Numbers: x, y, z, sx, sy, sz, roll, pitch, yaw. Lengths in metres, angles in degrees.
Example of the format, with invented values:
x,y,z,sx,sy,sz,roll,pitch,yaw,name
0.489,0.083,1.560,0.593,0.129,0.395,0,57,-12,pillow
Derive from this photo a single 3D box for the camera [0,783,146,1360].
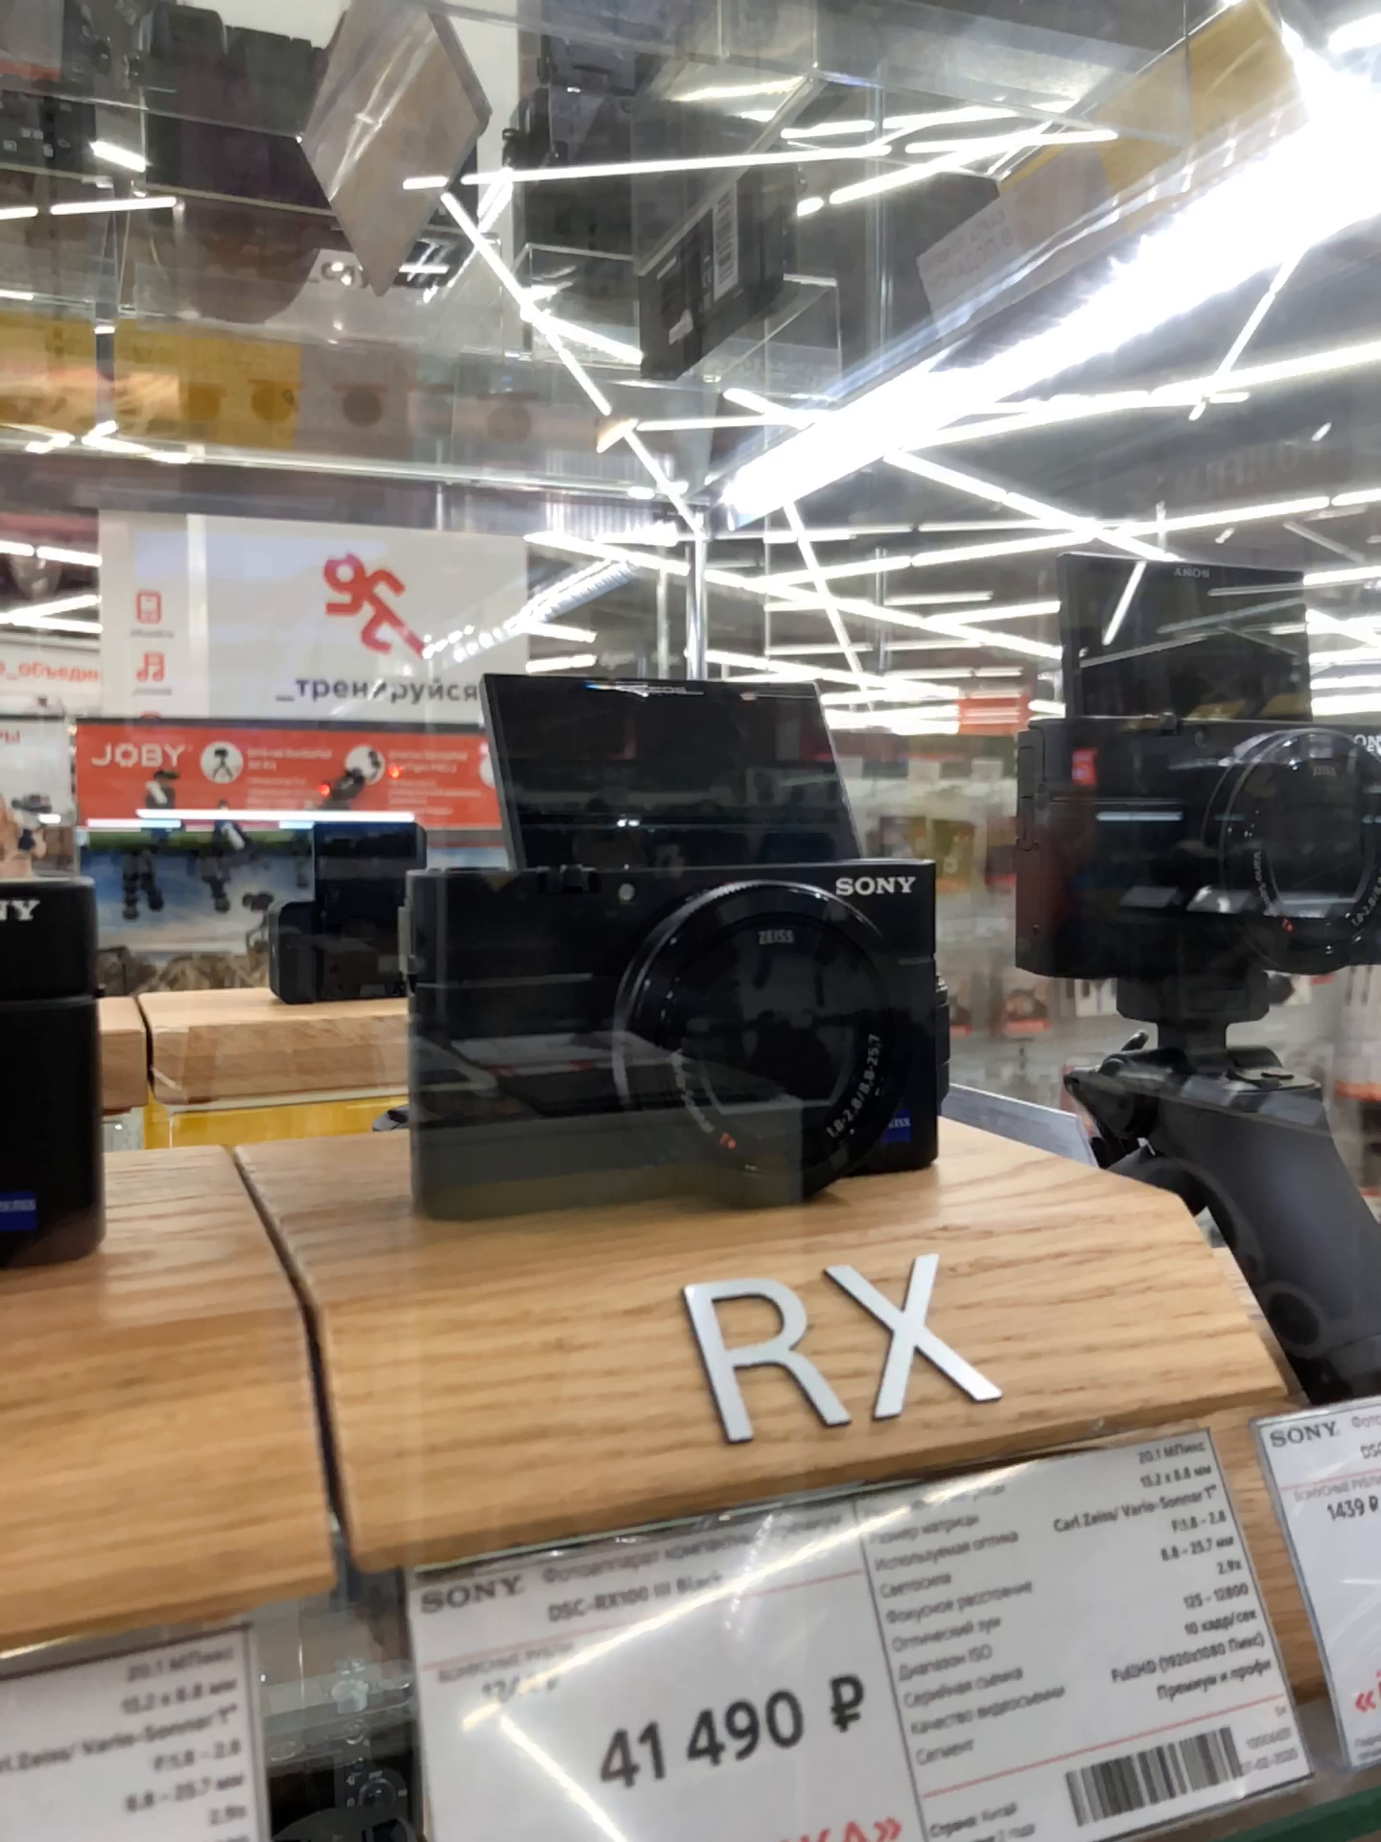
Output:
x,y,z,sx,sy,sz,roll,pitch,yaw,name
-0.142,0.015,0.242,0.101,0.068,0.096,-1,2,-22,camera

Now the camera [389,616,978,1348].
x,y,z,sx,sy,sz,roll,pitch,yaw,name
-0.002,0.008,0.291,0.100,0.120,0.050,-1,2,-22,camera
